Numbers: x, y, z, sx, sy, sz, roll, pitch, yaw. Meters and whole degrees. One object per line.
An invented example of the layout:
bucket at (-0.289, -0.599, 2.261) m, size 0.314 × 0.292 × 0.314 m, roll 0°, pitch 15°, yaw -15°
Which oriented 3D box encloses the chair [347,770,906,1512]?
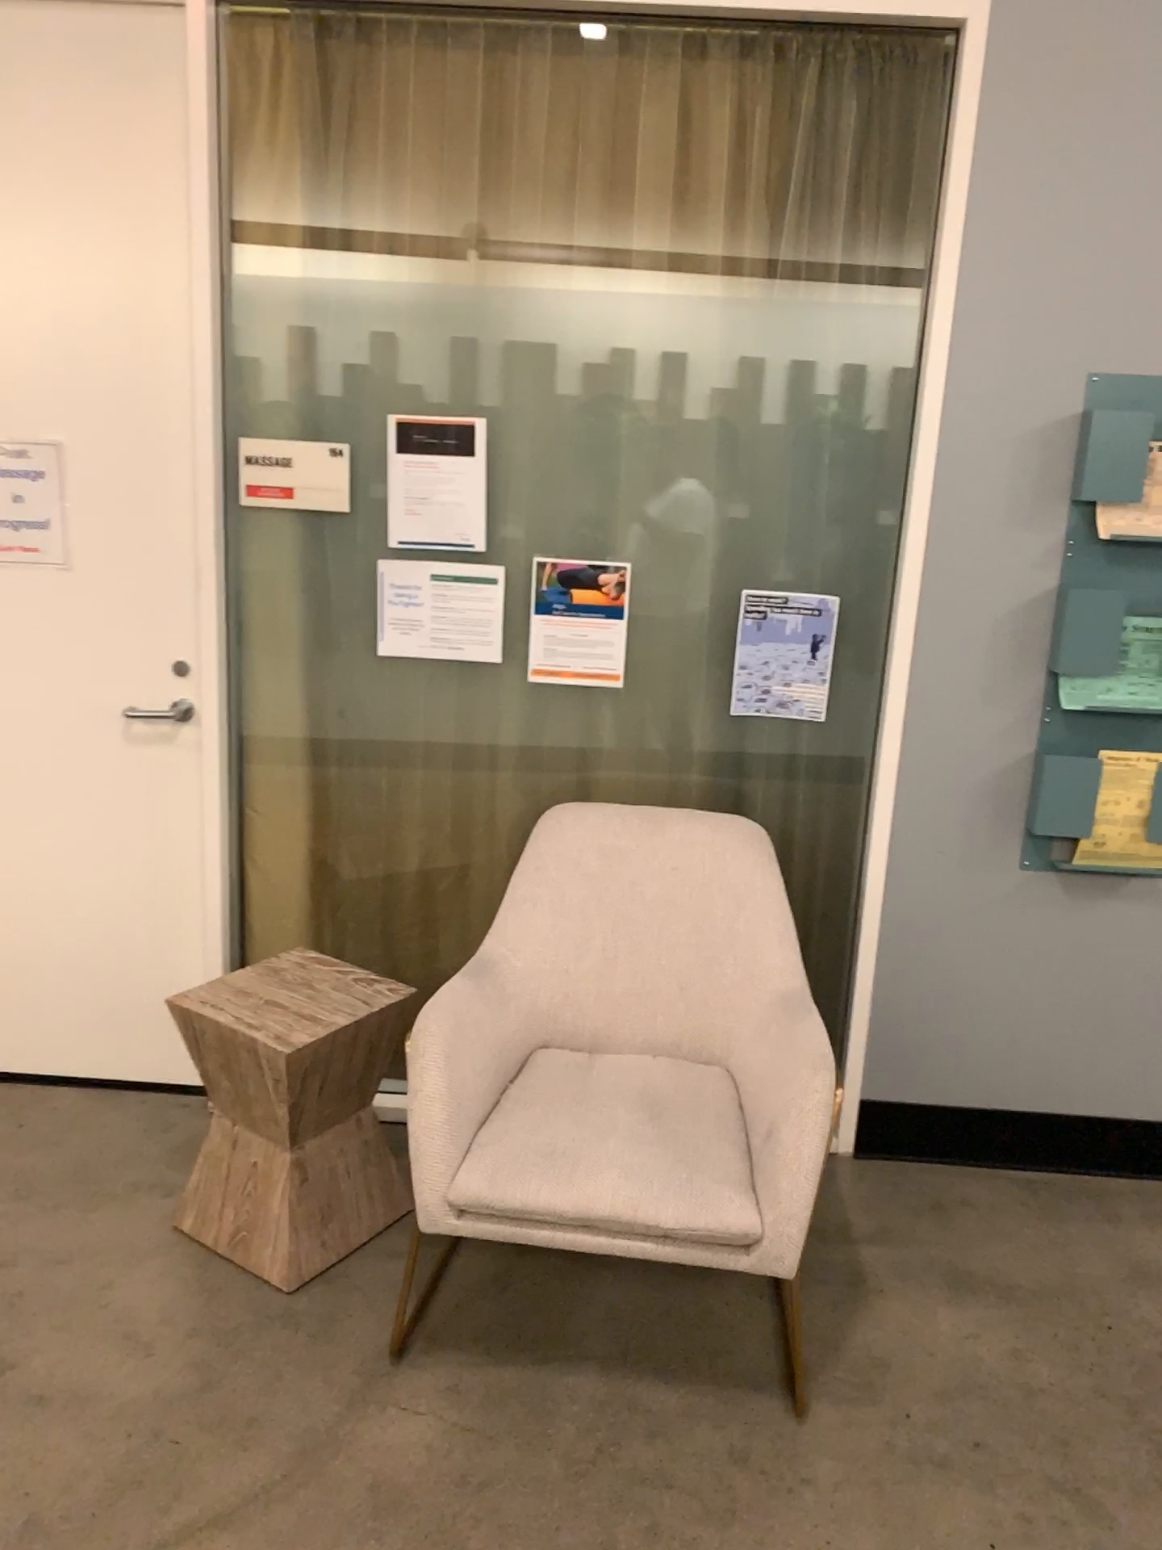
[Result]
chair at (0.070, 0.574, 2.202) m, size 0.780 × 0.927 × 0.873 m, roll 4°, pitch 14°, yaw 3°
